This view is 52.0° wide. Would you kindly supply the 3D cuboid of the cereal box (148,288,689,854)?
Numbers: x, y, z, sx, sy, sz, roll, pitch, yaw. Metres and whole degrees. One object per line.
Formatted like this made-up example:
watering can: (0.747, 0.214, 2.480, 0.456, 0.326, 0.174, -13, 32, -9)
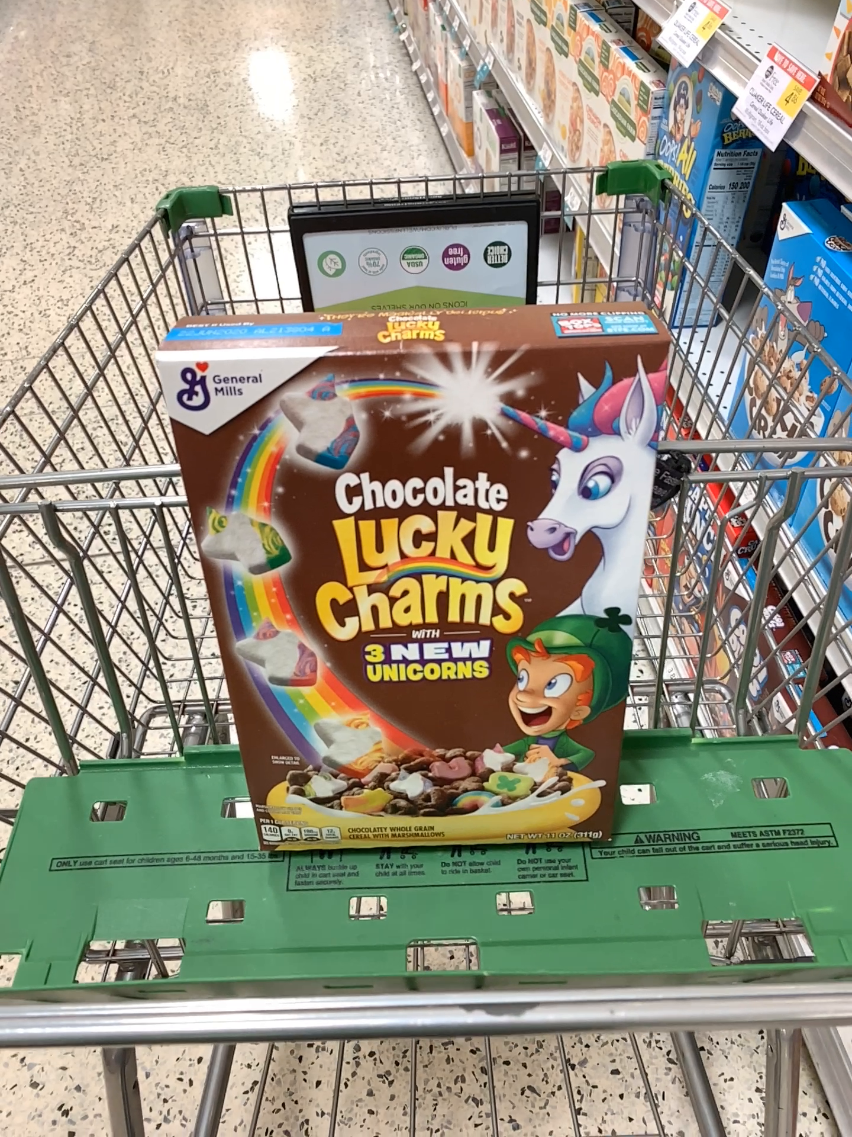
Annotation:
cereal box: (0.002, 0.023, 0.428, 0.200, 0.297, 0.050, -1, 35, 1)
